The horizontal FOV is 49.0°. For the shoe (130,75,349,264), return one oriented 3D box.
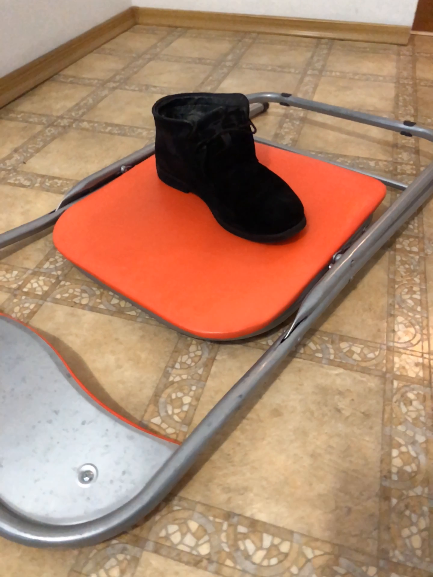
[{"bbox_3d":[0.018,-0.169,0.629,0.110,0.129,0.271,-32,51,-31],"label":"shoe"}]
